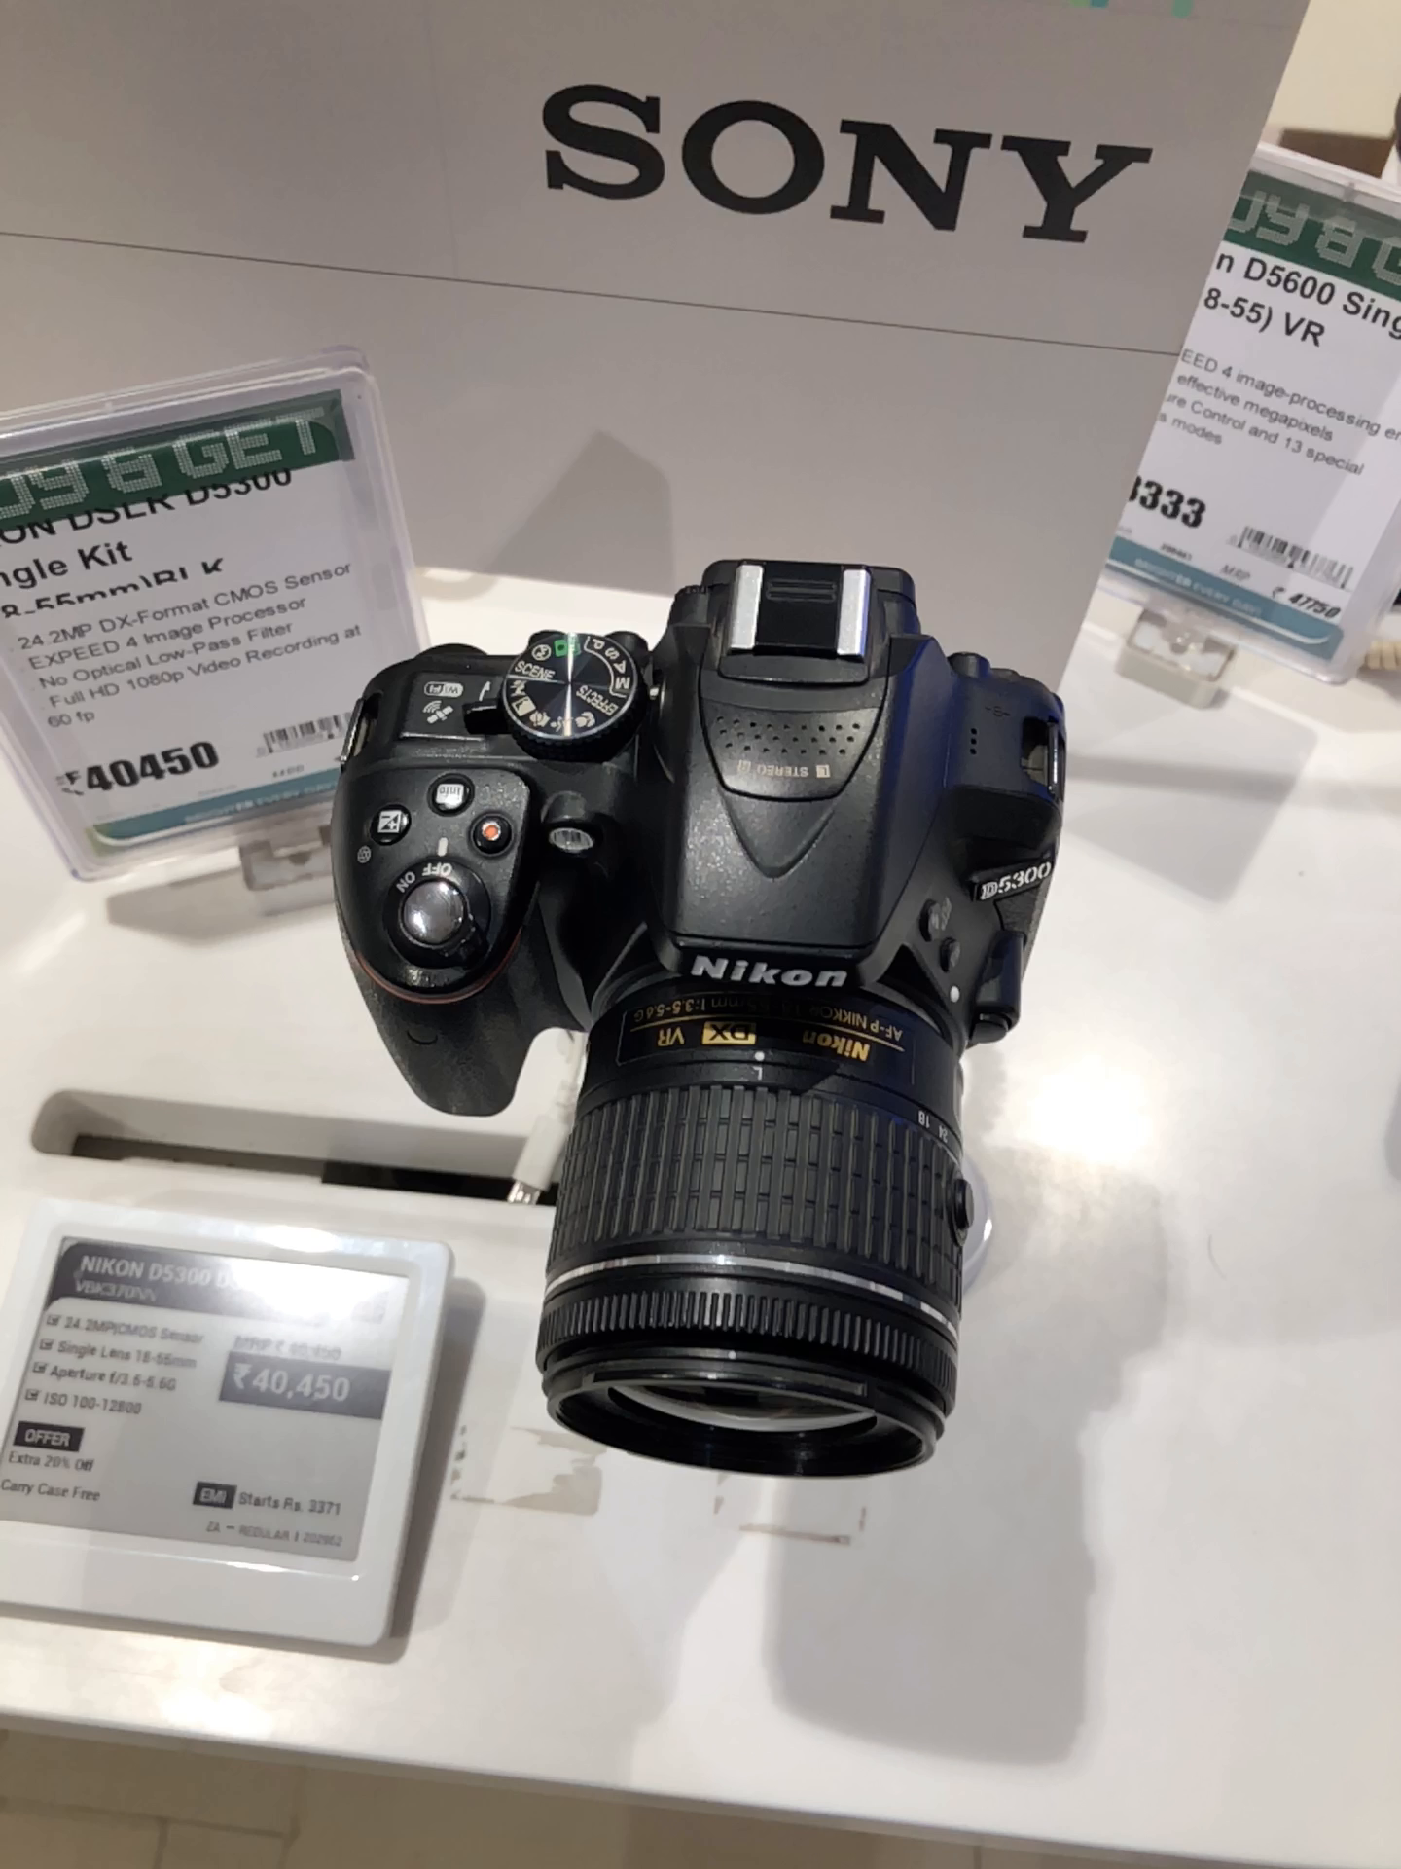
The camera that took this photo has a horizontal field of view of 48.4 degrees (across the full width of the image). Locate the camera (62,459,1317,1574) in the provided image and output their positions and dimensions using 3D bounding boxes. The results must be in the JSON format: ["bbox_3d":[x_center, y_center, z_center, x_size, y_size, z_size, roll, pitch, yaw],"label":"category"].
[{"bbox_3d":[0.001,0.014,0.254,0.140,0.099,0.141,4,56,0],"label":"camera"}]
